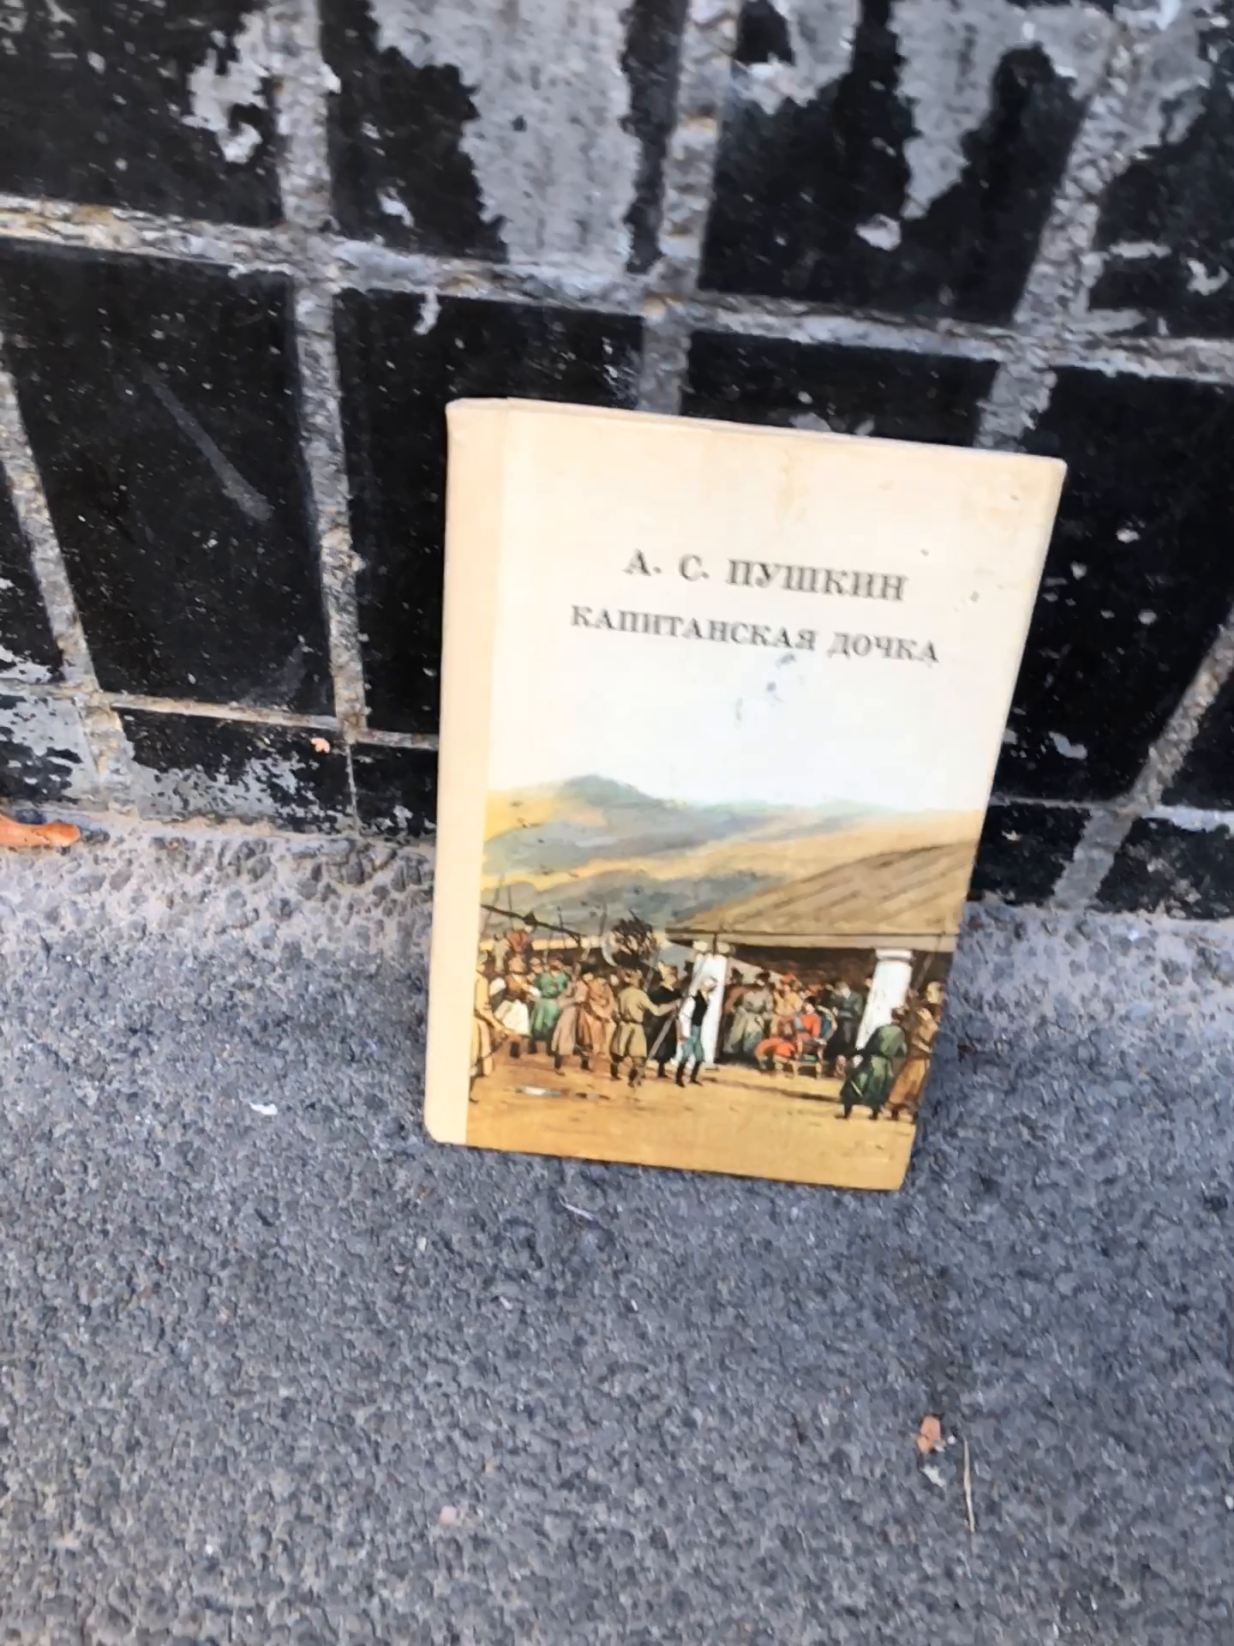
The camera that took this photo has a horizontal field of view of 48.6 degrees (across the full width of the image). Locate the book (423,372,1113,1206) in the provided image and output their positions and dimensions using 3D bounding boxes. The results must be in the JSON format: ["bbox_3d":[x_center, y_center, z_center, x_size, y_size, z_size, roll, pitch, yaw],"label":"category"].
[{"bbox_3d":[0.028,0.002,0.362,0.145,0.215,0.023,7,26,-1],"label":"book"}]
